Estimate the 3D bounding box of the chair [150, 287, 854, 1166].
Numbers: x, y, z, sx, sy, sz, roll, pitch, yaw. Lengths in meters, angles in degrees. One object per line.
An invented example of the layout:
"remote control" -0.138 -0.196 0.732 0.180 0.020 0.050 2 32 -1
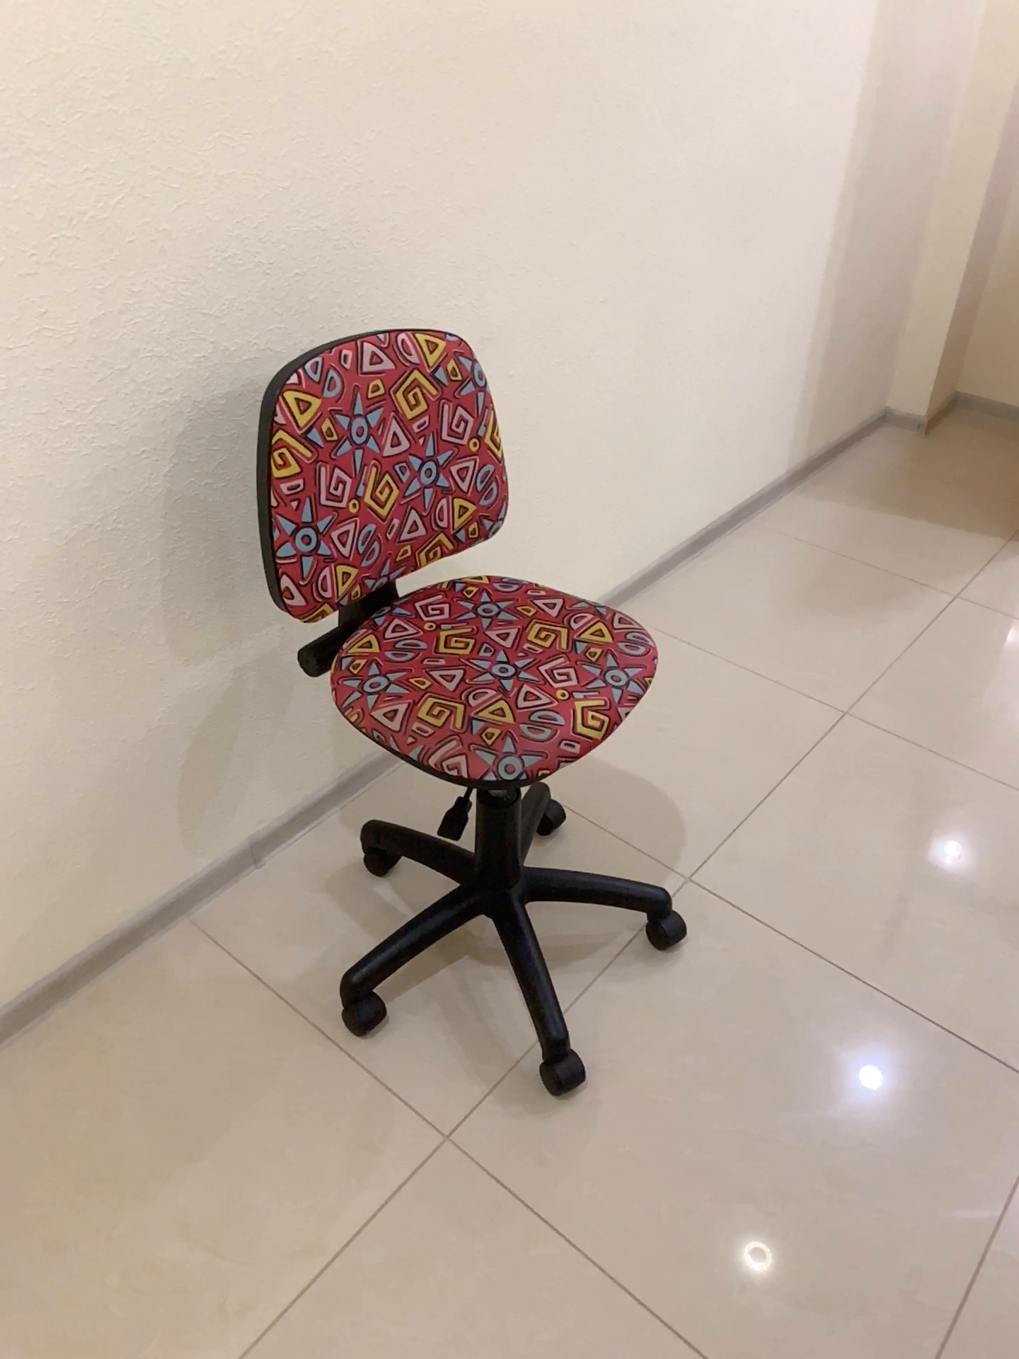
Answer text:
"chair" -0.004 0.042 1.396 0.541 0.885 0.552 26 43 30
